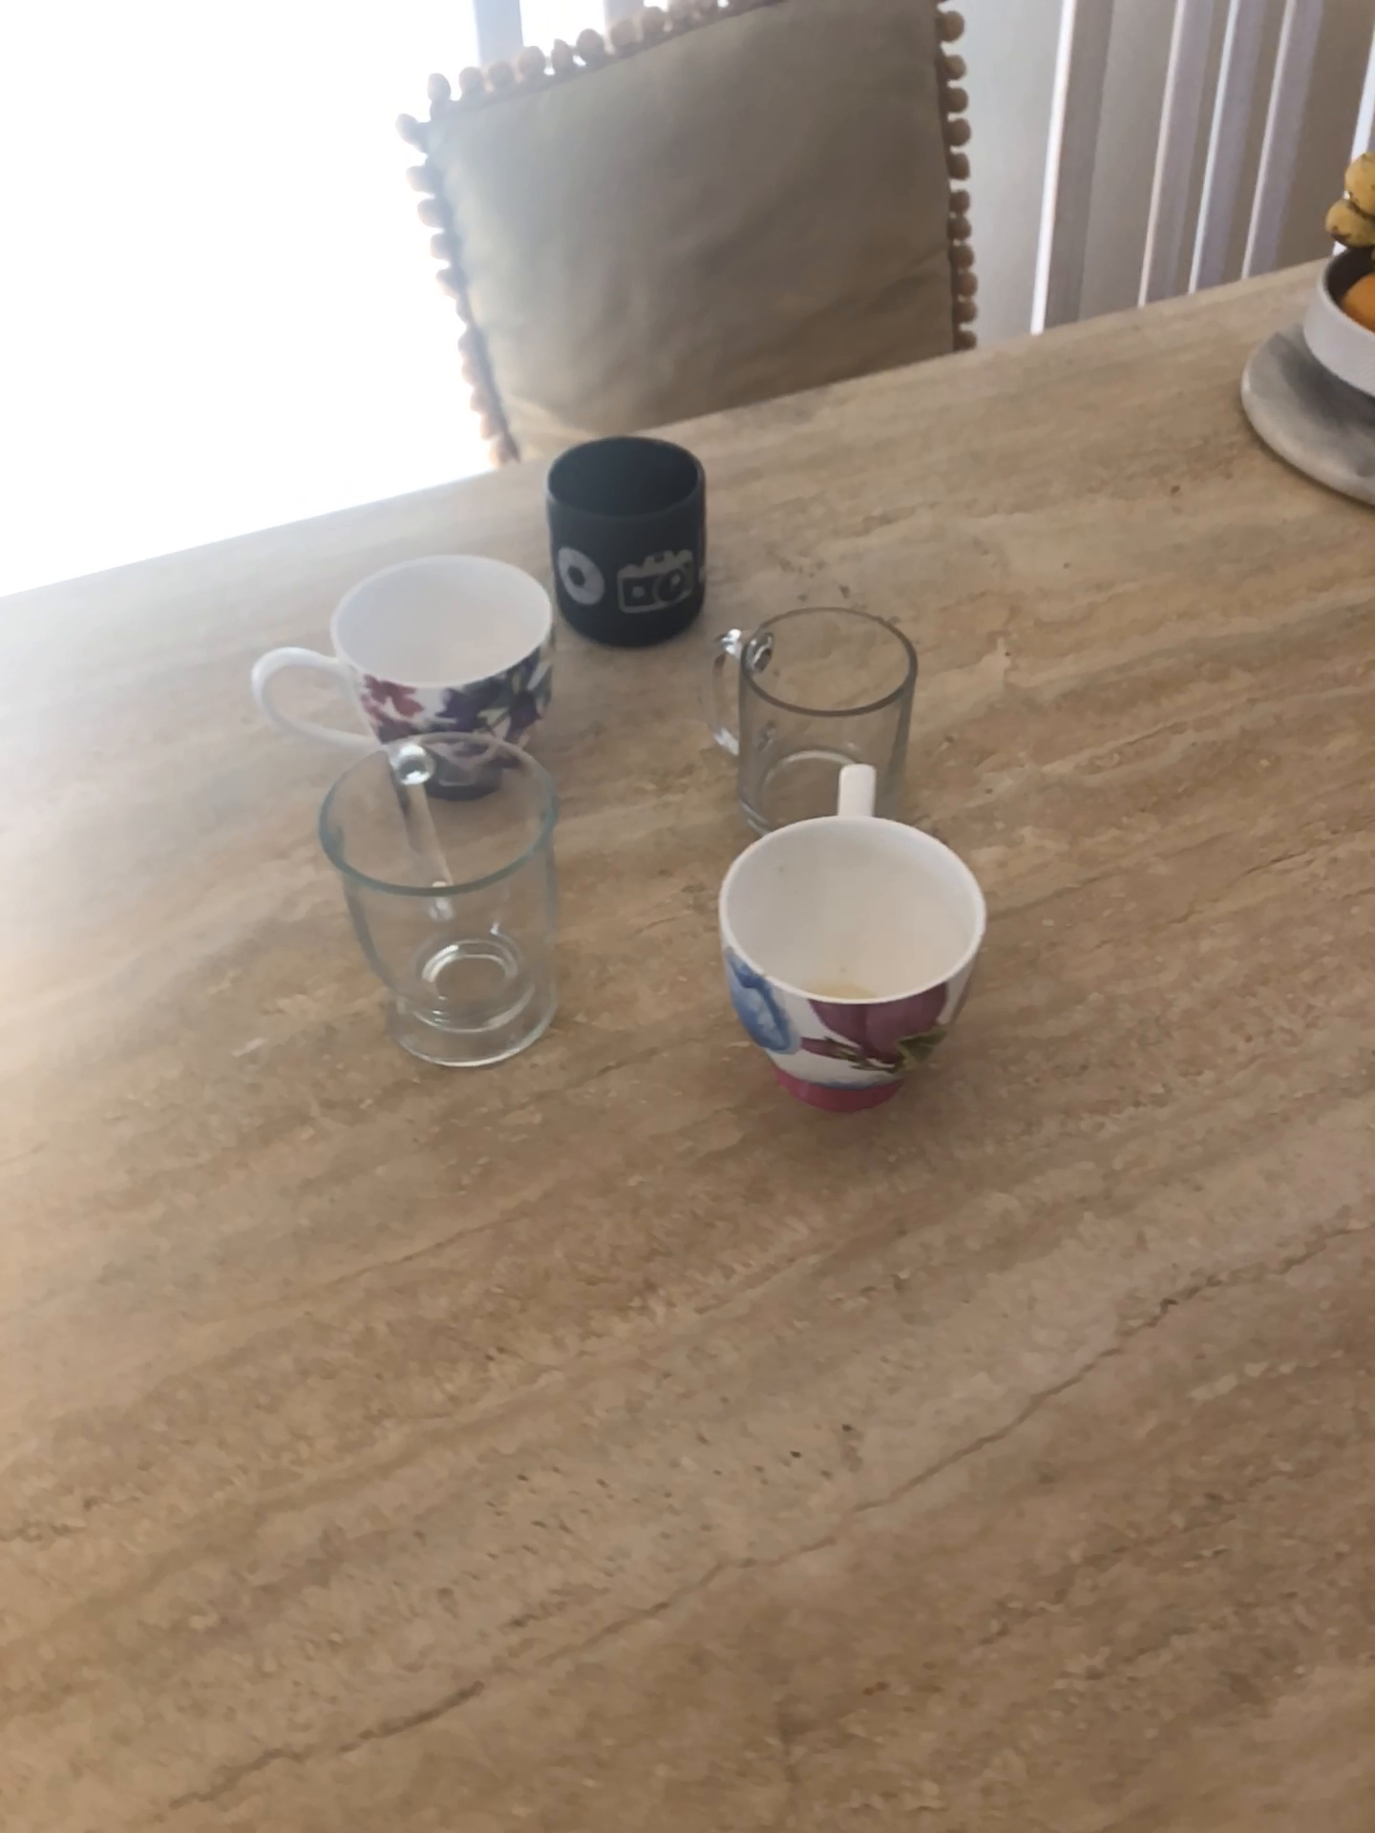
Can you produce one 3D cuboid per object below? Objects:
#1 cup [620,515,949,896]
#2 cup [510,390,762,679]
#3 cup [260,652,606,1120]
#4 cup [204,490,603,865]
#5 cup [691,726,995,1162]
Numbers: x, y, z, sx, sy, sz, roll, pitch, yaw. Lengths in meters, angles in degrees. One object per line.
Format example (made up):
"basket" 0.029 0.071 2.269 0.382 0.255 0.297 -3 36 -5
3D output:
"cup" 0.046 -0.108 0.766 0.090 0.119 0.130 -35 54 -28
"cup" -0.031 -0.227 0.891 0.100 0.089 0.141 -17 47 -14
"cup" -0.110 -0.016 0.661 0.100 0.119 0.141 -17 47 -14
"cup" -0.137 -0.122 0.755 0.151 0.099 0.110 -24 50 -21
"cup" 0.065 0.009 0.641 0.110 0.099 0.151 3 46 5
